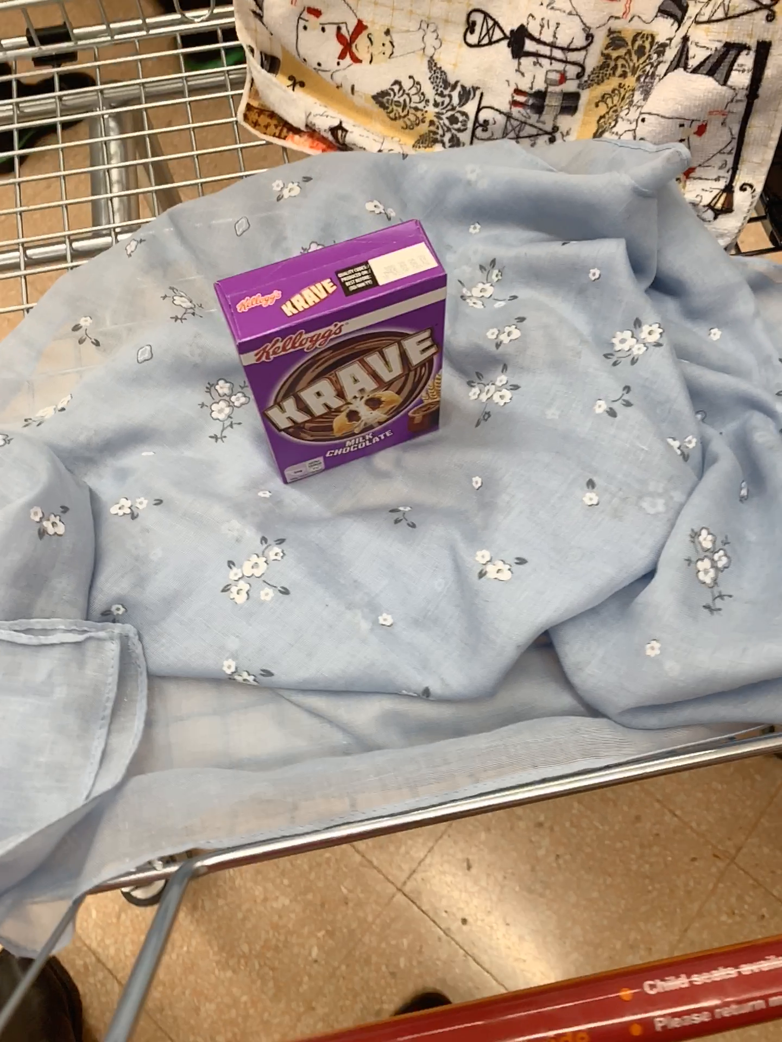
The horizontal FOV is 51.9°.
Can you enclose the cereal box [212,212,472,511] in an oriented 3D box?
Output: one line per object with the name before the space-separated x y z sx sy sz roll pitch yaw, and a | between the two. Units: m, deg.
cereal box | -0.017 -0.063 0.361 0.090 0.129 0.040 -19 67 -7
